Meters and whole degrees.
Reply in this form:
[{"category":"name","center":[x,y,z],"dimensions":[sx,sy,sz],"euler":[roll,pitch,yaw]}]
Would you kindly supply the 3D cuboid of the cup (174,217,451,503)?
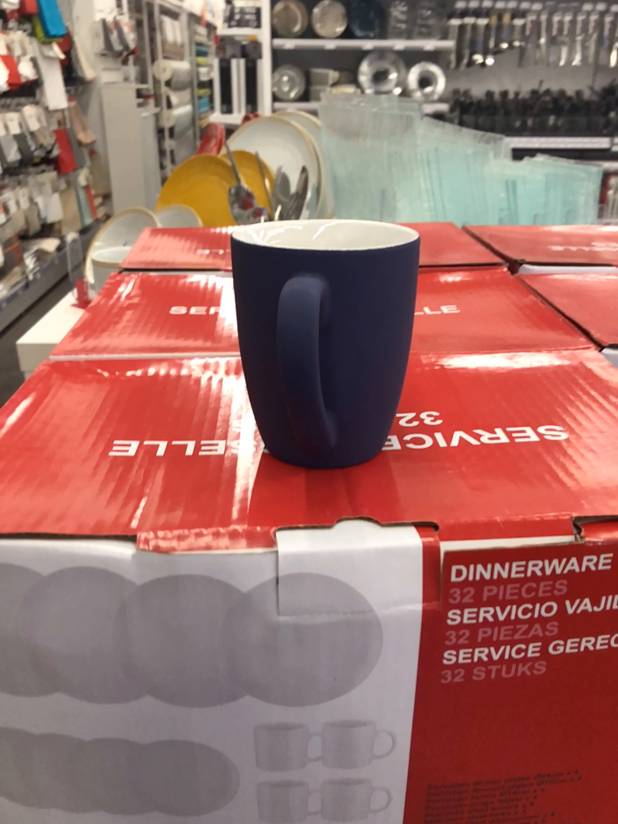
[{"category":"cup","center":[0.008,-0.030,0.294],"dimensions":[0.090,0.088,0.121],"euler":[0,22,6]}]
